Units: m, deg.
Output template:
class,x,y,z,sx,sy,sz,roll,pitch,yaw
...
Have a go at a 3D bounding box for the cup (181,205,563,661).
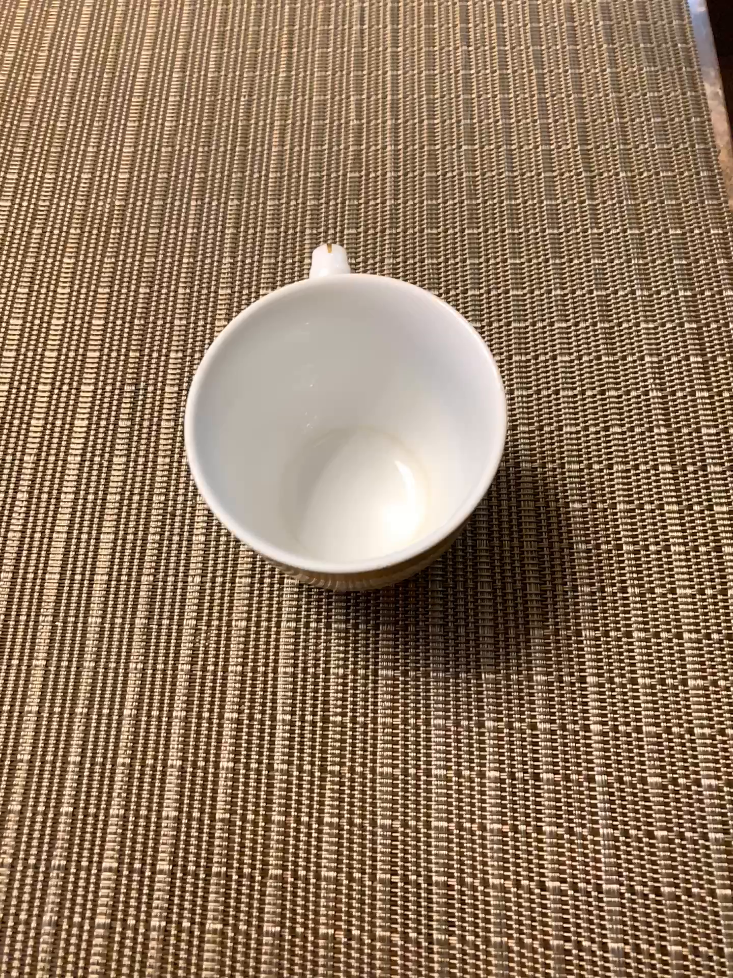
class,x,y,z,sx,sy,sz,roll,pitch,yaw
cup,-0.002,-0.013,0.208,0.082,0.055,0.103,-6,68,1
